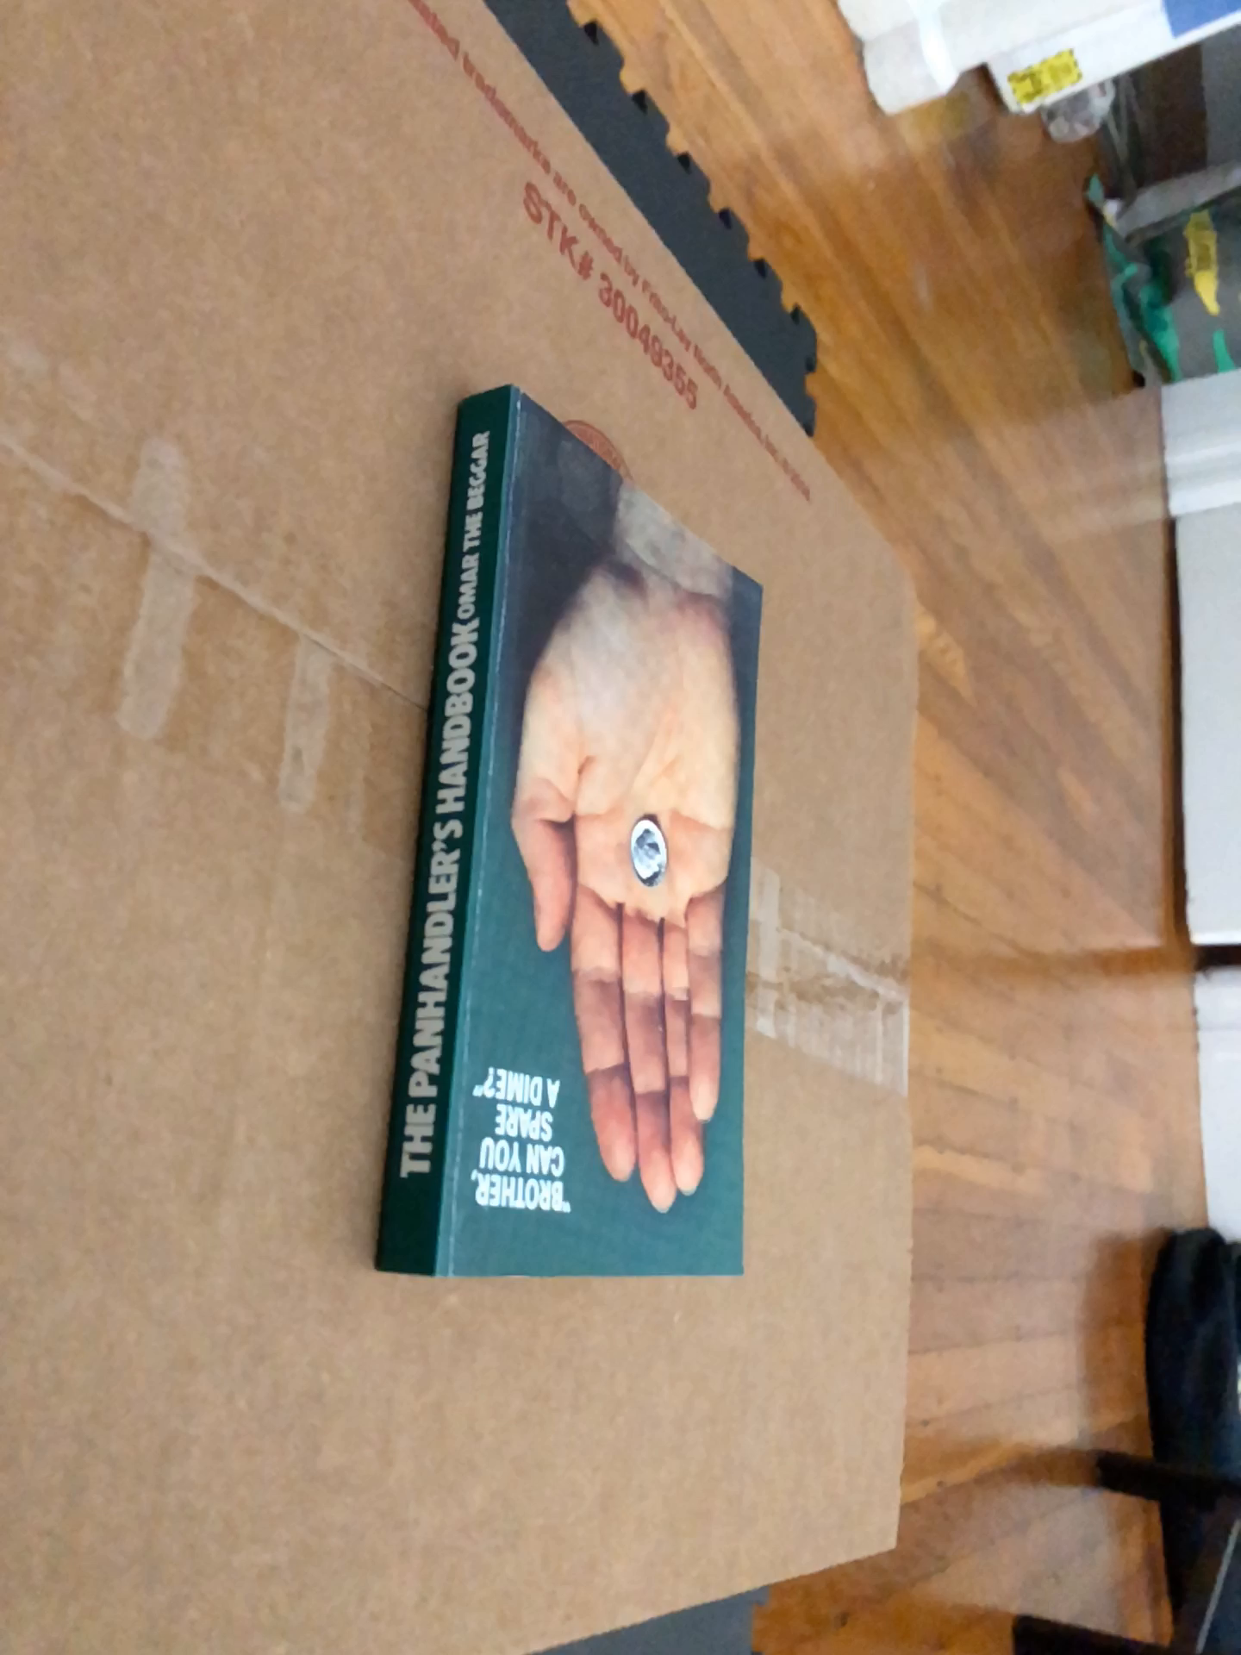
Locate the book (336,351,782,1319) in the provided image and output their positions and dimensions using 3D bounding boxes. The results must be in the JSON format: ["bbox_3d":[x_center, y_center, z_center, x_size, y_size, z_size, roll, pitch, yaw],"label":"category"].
[{"bbox_3d":[-0.002,0.009,0.300,0.121,0.020,0.180,26,63,-54],"label":"book"}]
